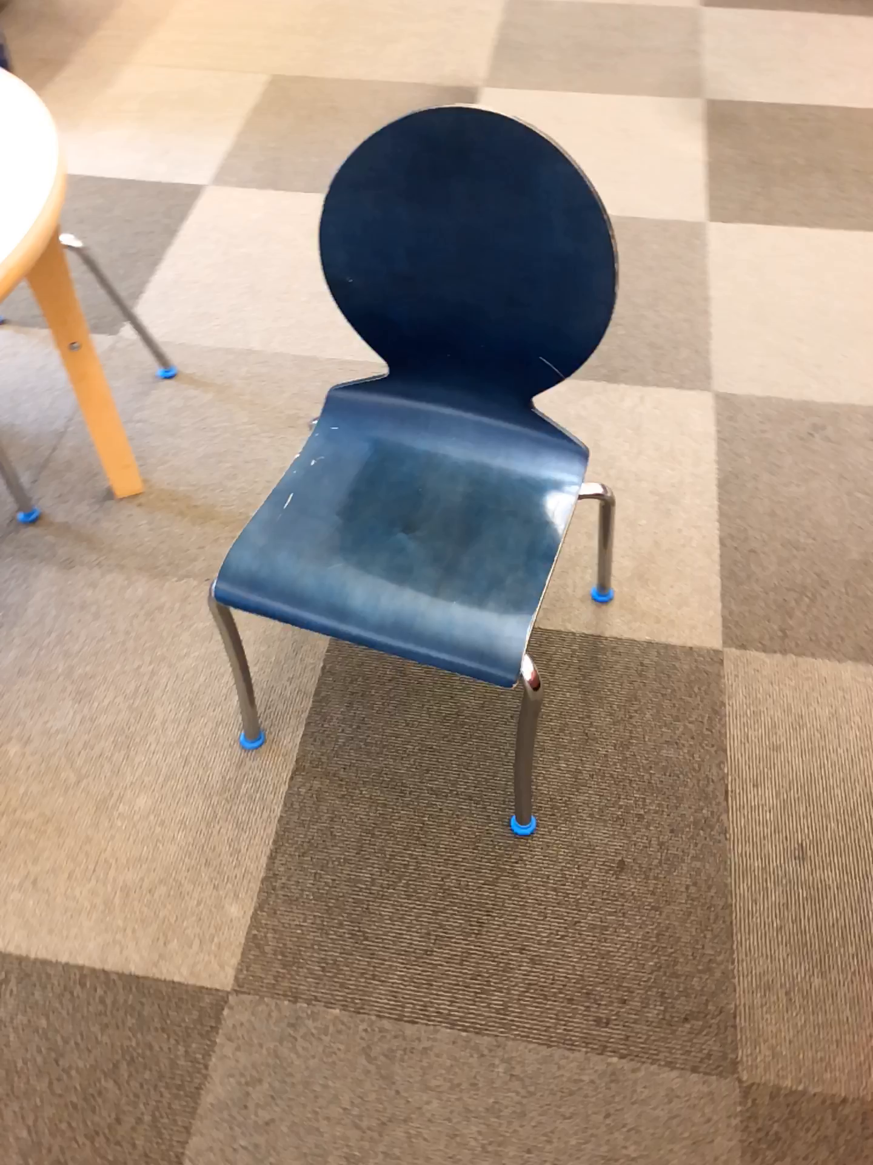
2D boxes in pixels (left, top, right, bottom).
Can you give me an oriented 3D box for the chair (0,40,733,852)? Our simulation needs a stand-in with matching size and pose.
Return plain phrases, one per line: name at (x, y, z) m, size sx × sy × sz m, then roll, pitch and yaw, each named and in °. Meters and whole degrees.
chair at (-0.024, -0.124, 1.103) m, size 0.497 × 0.699 × 0.475 m, roll 15°, pitch 53°, yaw 13°
